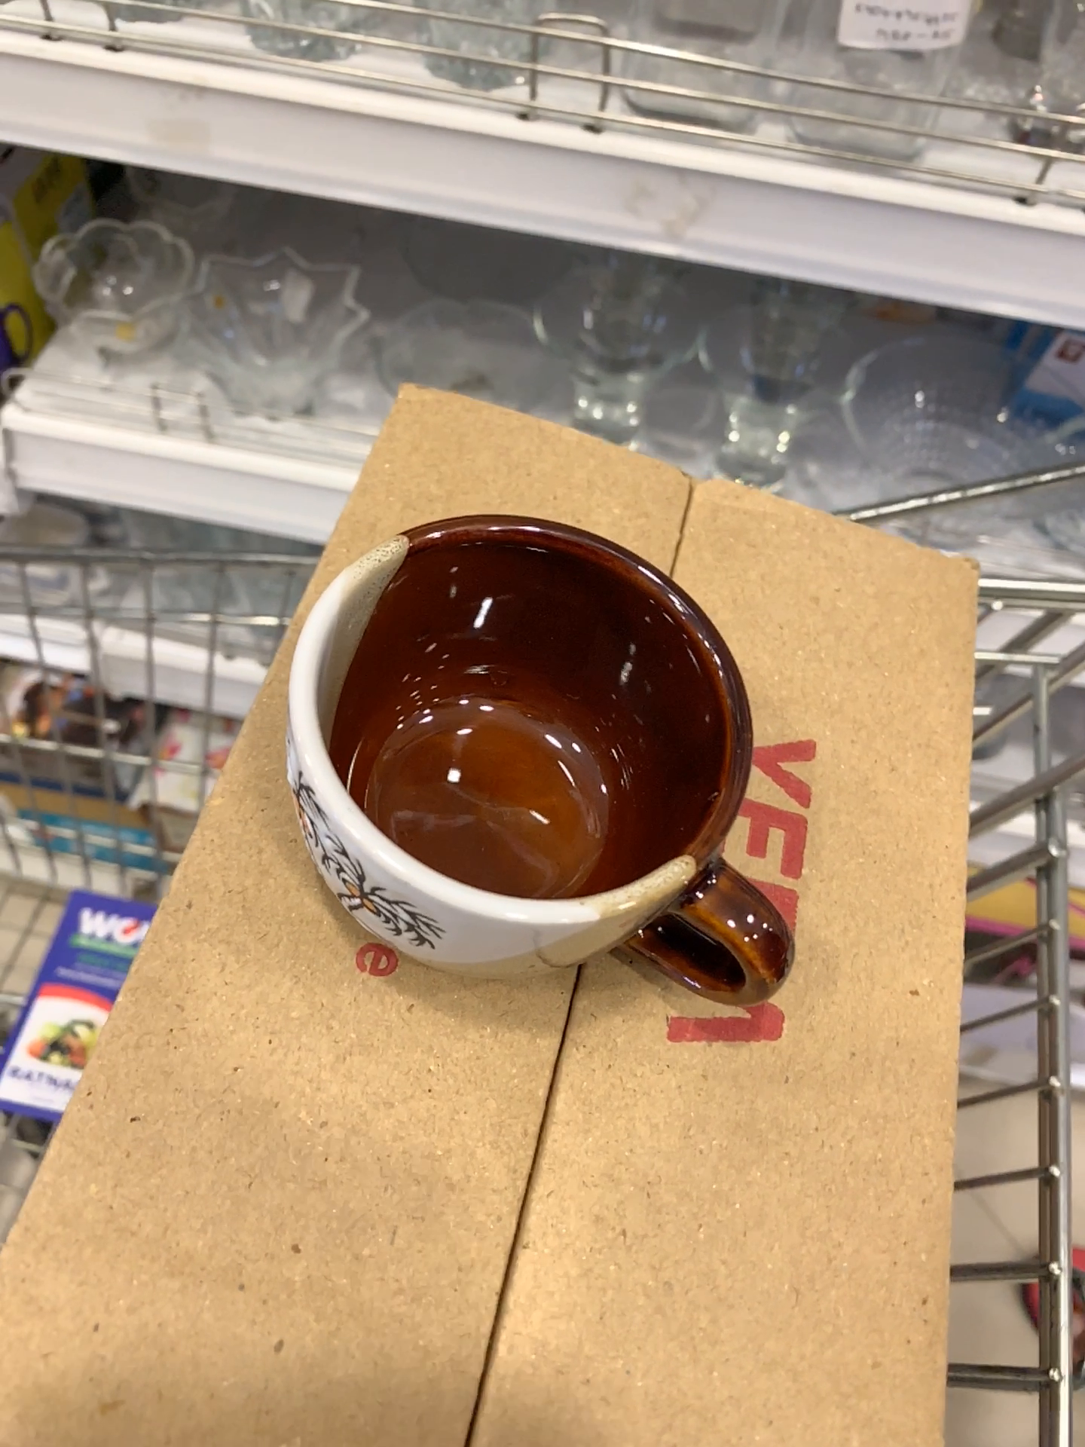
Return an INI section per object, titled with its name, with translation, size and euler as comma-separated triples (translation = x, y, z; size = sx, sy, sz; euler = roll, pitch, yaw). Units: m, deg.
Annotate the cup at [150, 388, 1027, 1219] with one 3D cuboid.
[cup]
translation = 0.003, 0.013, 0.173
size = 0.100, 0.060, 0.060
euler = 38, 63, 11
